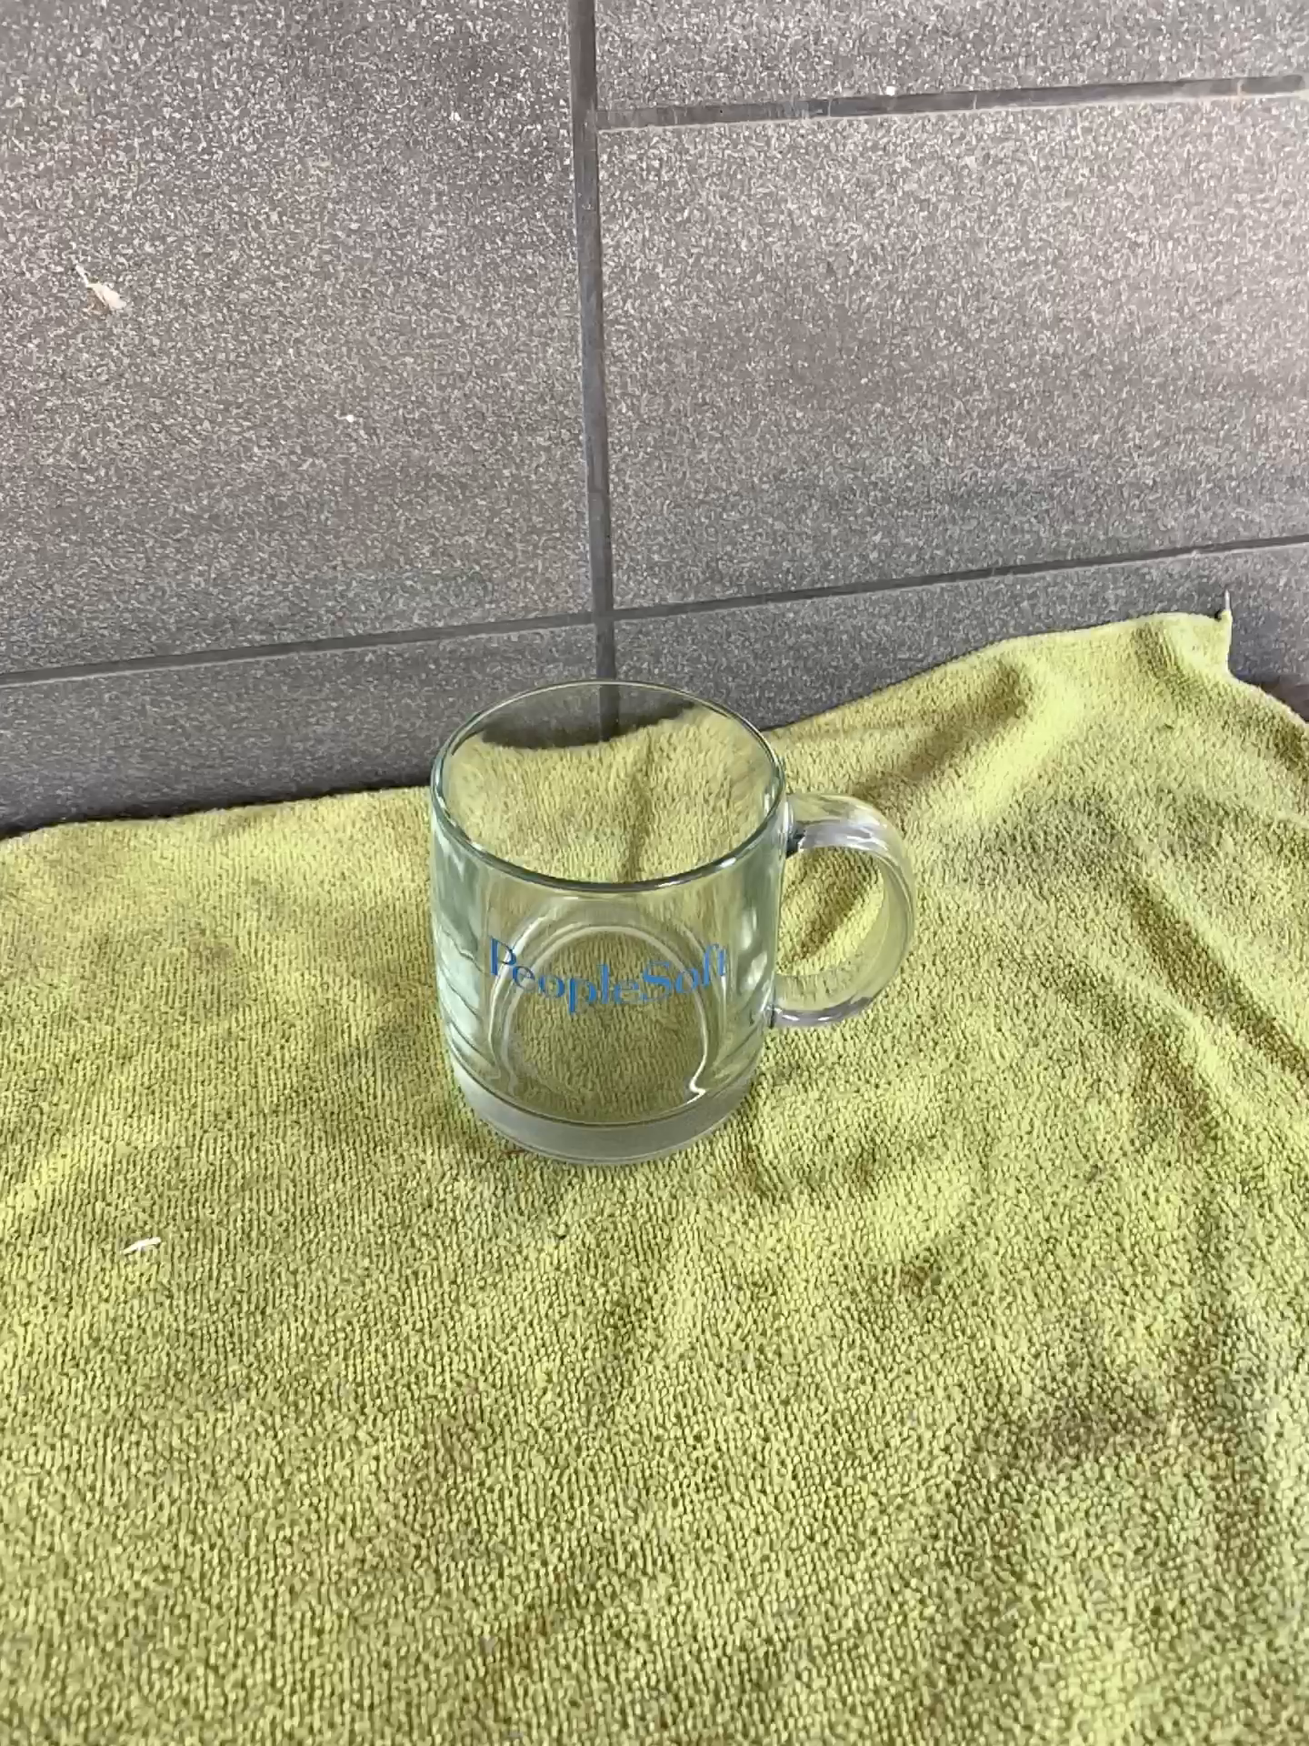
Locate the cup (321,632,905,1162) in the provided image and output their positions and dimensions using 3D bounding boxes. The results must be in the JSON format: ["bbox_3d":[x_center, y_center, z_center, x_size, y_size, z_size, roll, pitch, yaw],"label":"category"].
[{"bbox_3d":[-0.010,0.006,0.340,0.120,0.100,0.080,-2,39,-2],"label":"cup"}]
